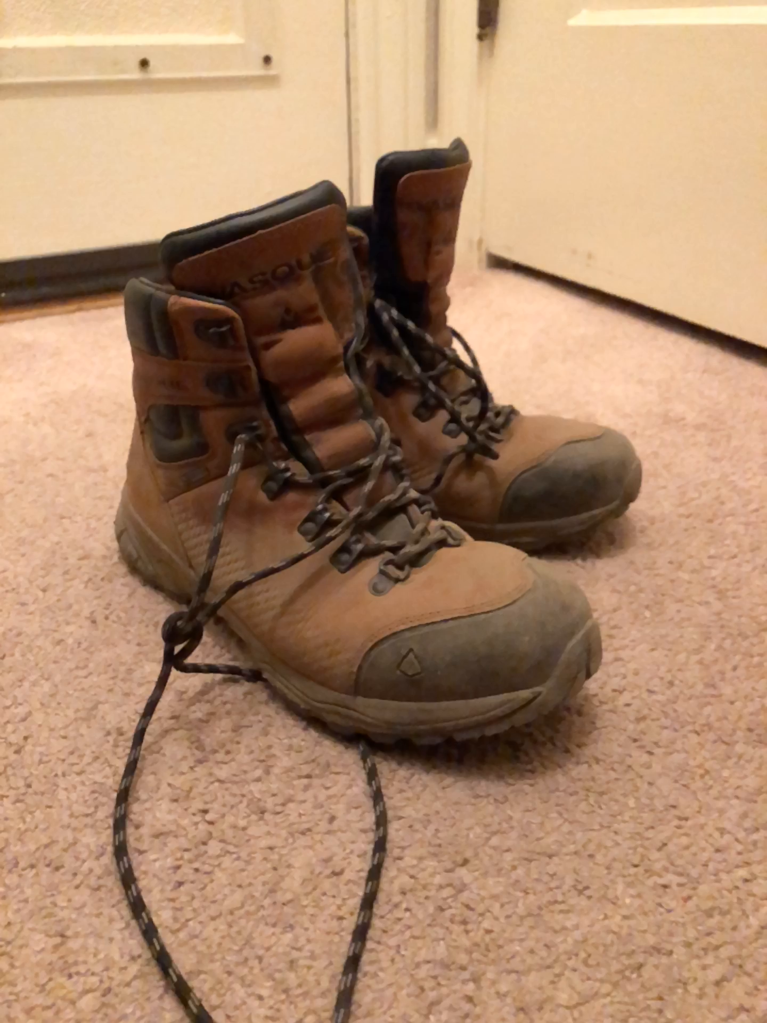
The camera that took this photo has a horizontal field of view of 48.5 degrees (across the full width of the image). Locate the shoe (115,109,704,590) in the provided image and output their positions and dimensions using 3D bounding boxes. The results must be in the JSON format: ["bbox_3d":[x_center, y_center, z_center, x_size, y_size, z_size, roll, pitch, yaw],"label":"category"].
[{"bbox_3d":[0.009,-0.118,0.533,0.310,0.229,0.121,14,32,25],"label":"shoe"}]

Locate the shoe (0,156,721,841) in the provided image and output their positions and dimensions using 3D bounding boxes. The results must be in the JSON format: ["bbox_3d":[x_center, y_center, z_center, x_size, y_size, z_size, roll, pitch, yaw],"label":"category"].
[{"bbox_3d":[-0.034,-0.036,0.409,0.311,0.219,0.121,21,35,34],"label":"shoe"}]
